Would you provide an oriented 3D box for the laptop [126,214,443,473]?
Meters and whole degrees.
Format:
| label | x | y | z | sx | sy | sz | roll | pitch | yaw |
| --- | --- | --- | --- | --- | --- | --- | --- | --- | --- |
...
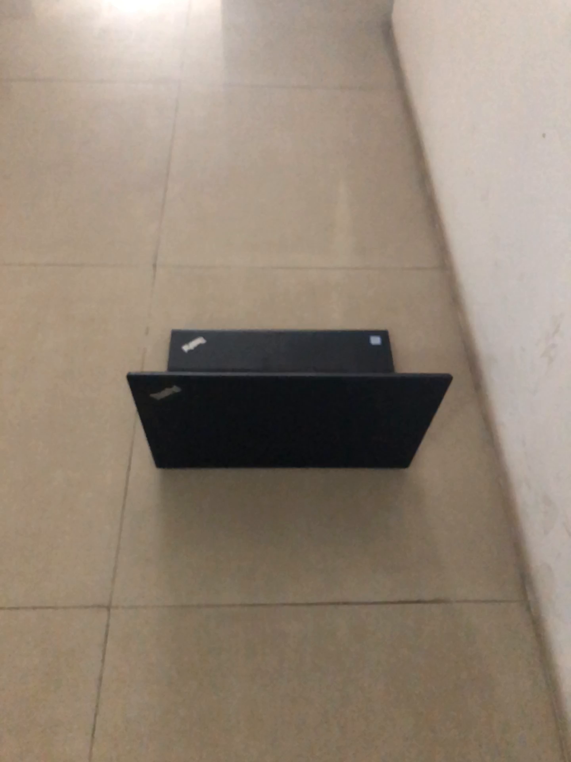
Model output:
| label | x | y | z | sx | sy | sz | roll | pitch | yaw |
| --- | --- | --- | --- | --- | --- | --- | --- | --- | --- |
| laptop | -0.003 | -0.044 | 0.876 | 0.353 | 0.240 | 0.256 | 1 | 55 | -3 |
